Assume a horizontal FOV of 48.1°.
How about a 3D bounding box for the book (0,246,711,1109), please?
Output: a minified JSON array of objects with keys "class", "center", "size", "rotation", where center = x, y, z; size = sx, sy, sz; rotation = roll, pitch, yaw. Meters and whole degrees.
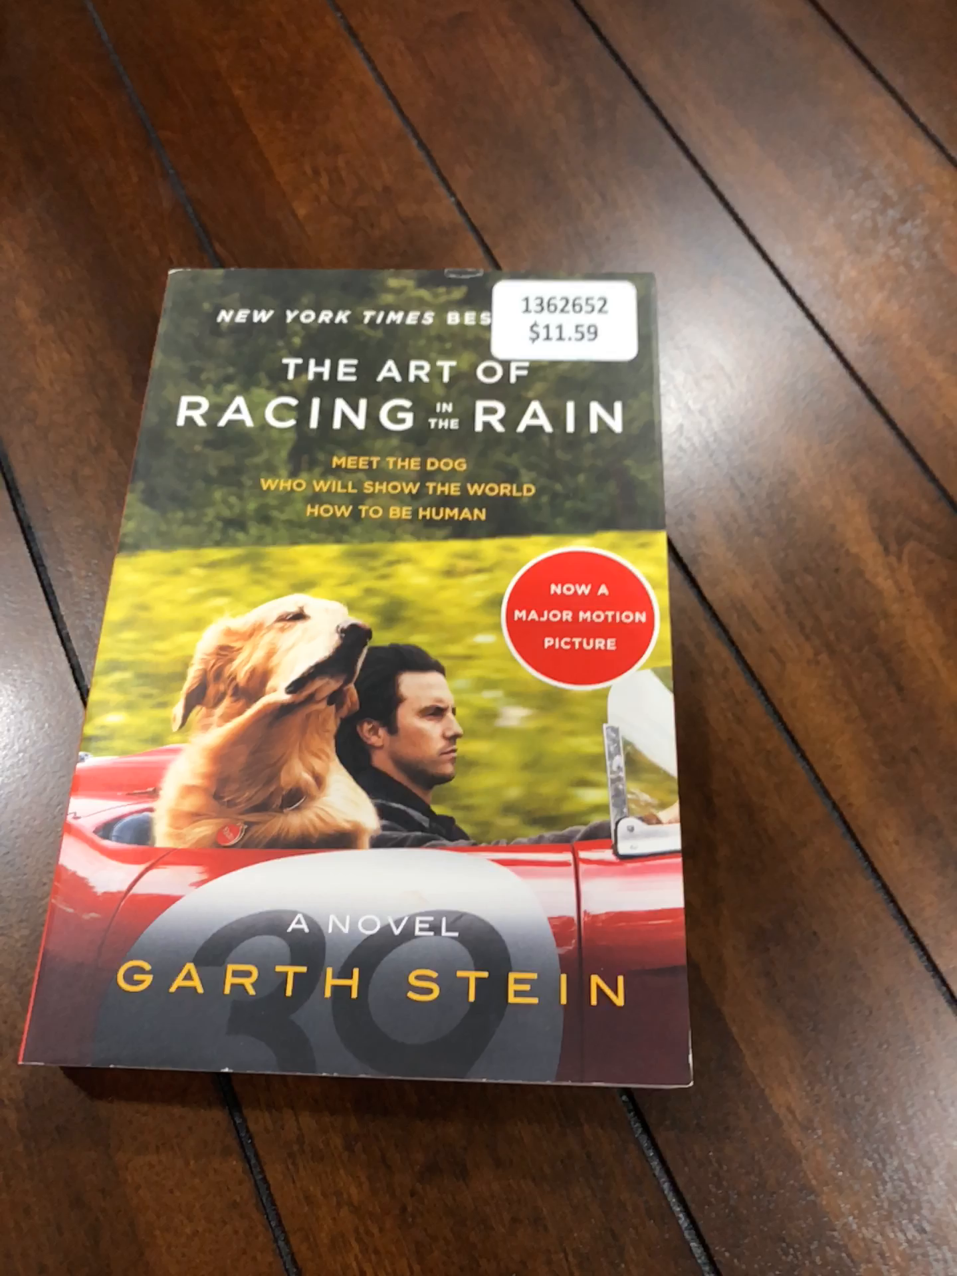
[{"class":"book","center":[-0.022,-0.004,0.259],"size":[0.140,0.028,0.210],"rotation":[1,66,2]}]
